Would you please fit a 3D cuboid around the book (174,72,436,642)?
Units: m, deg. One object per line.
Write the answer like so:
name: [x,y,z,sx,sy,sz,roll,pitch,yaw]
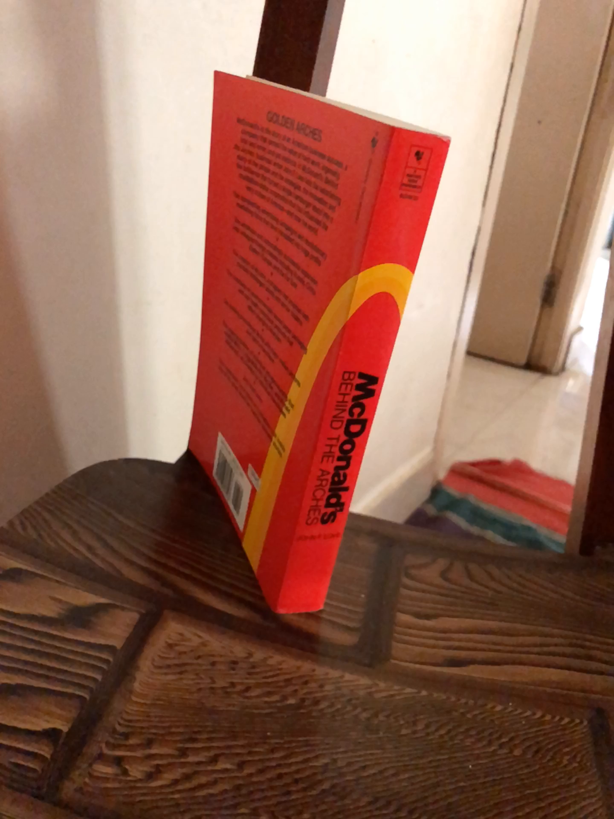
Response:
book: [-0.024,-0.041,0.362,0.040,0.239,0.191,-1,26,-22]
